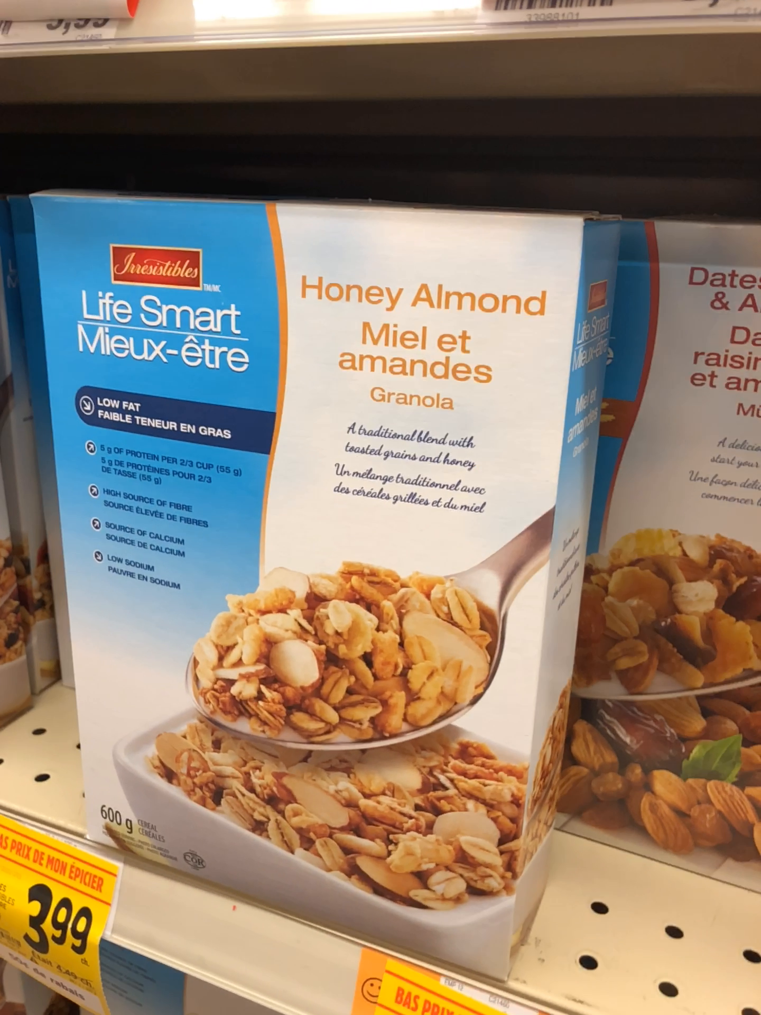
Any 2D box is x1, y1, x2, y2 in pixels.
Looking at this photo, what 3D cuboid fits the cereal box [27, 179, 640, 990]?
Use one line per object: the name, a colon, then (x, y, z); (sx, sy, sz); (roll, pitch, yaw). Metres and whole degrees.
cereal box: (-0.019, 0.019, 0.288); (0.170, 0.239, 0.060); (10, 21, 21)
